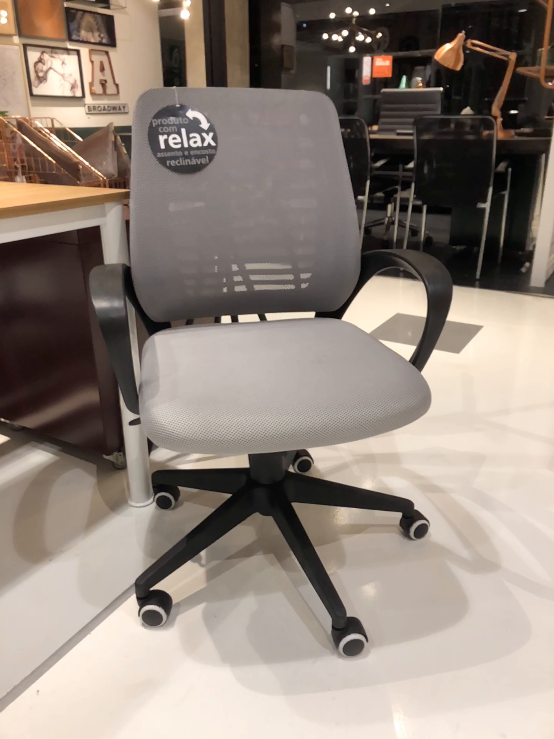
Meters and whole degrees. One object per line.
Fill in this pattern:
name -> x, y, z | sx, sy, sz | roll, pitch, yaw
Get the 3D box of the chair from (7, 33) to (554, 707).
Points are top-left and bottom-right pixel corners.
chair -> 0.012, -0.062, 1.083 | 0.660, 0.854, 0.664 | -4, 22, -10
